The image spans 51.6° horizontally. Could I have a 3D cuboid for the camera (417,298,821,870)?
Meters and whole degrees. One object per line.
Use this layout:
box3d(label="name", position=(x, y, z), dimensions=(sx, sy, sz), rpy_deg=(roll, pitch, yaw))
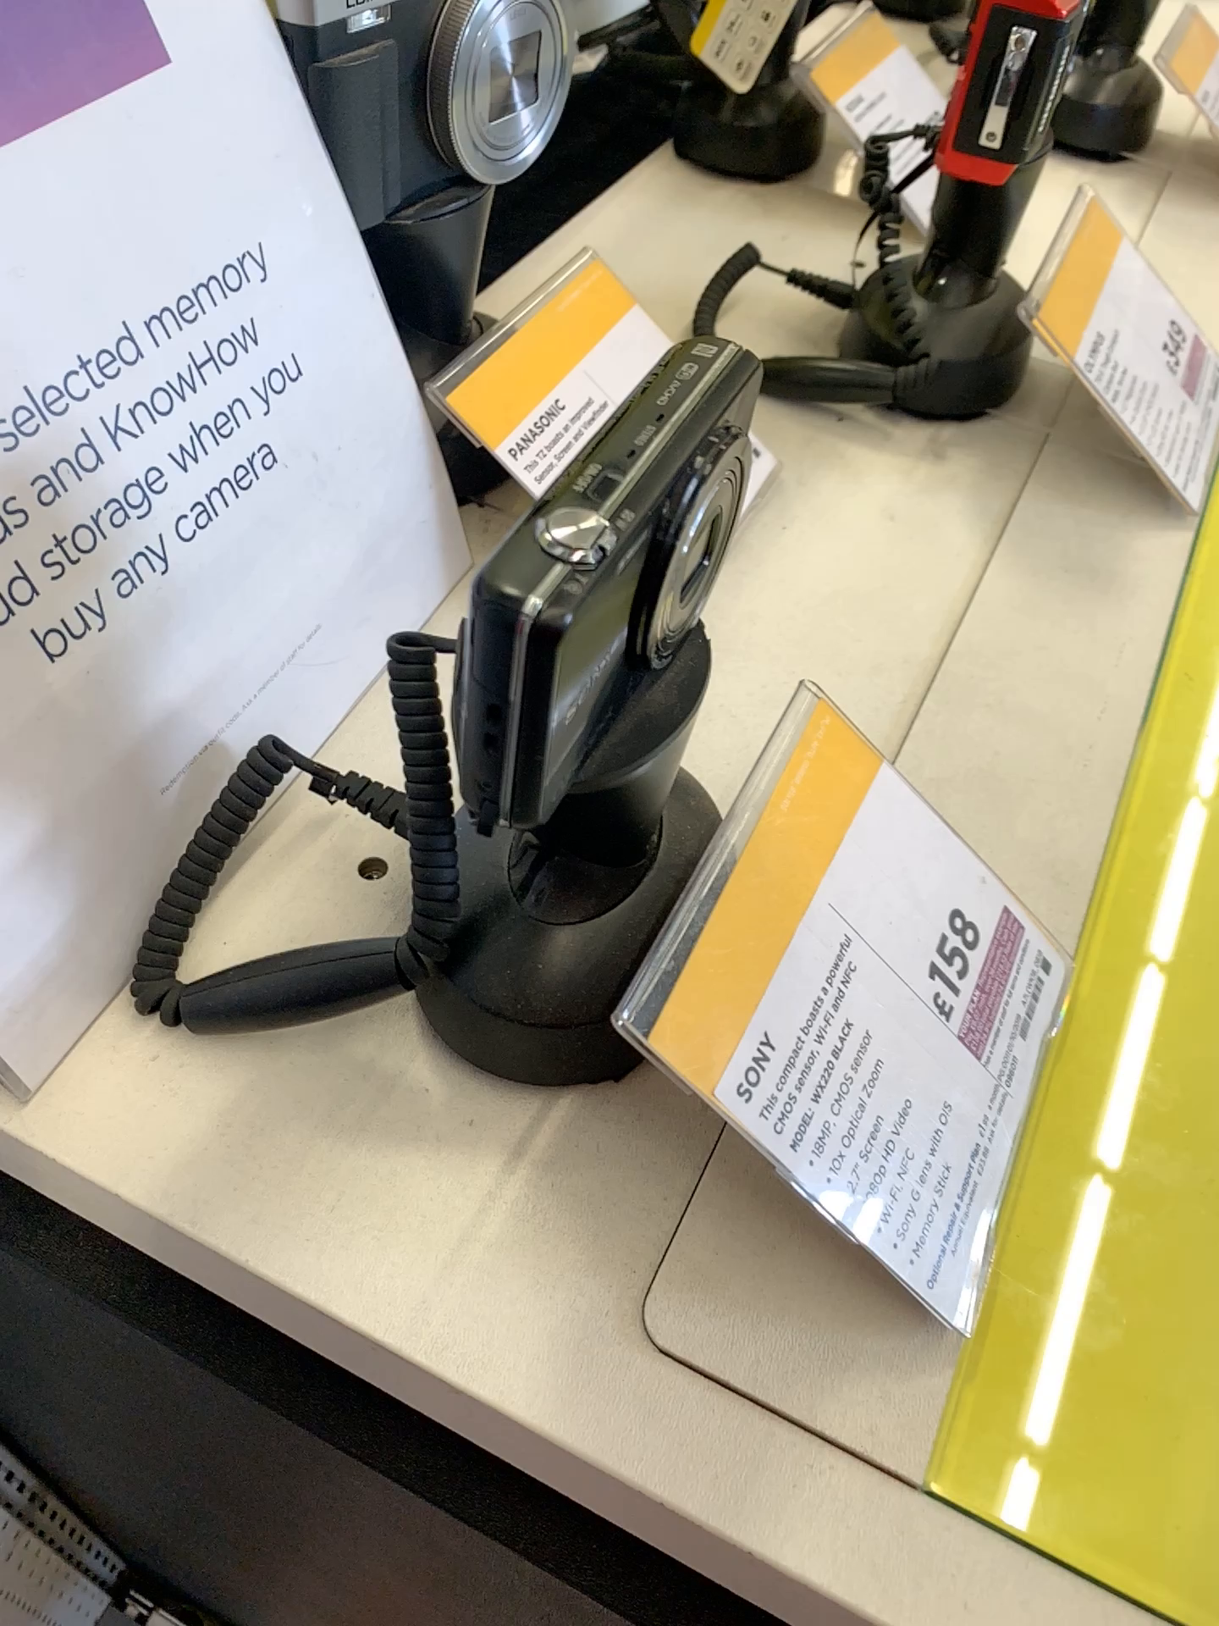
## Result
box3d(label="camera", position=(0.004, -0.045, 0.231), dimensions=(0.030, 0.050, 0.101), rpy_deg=(22, 51, 11))
